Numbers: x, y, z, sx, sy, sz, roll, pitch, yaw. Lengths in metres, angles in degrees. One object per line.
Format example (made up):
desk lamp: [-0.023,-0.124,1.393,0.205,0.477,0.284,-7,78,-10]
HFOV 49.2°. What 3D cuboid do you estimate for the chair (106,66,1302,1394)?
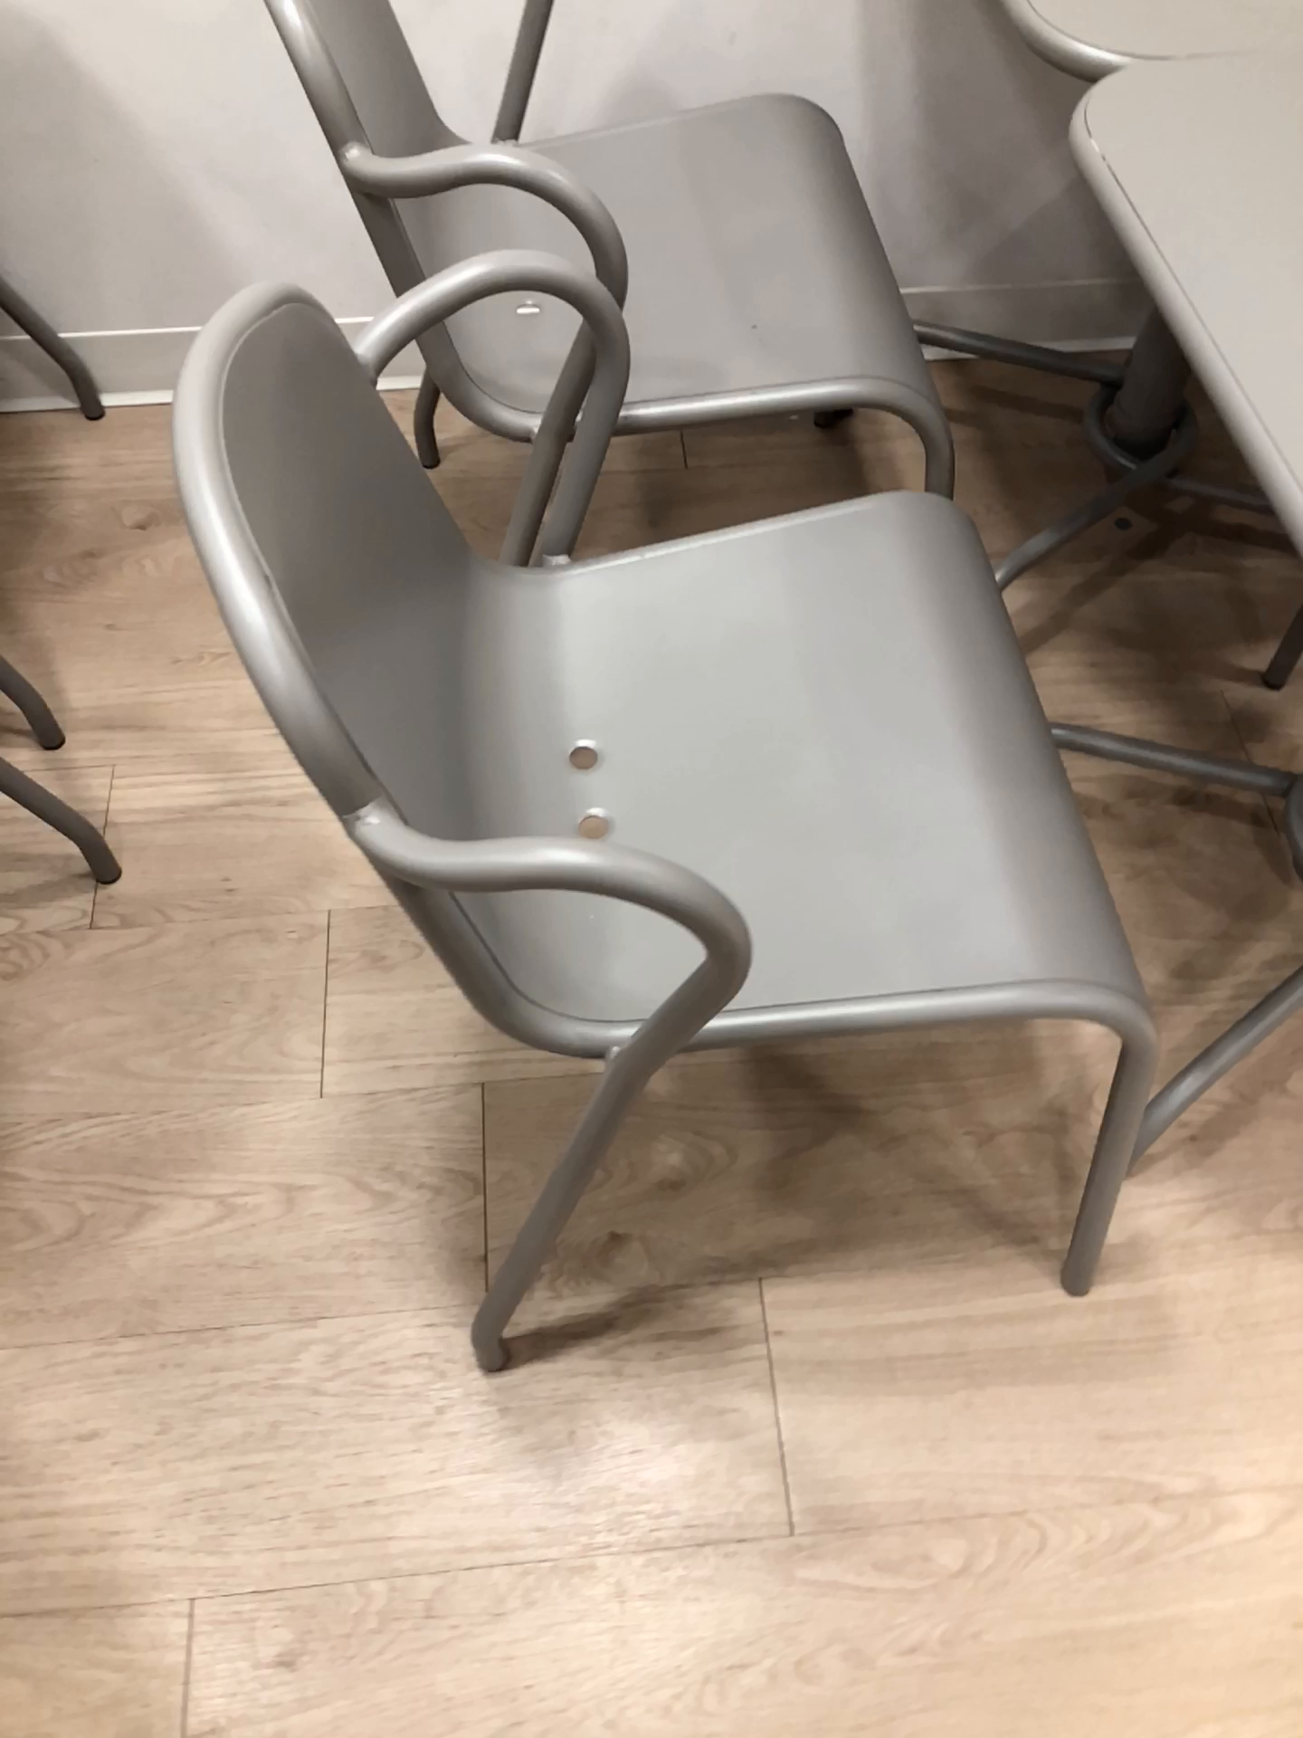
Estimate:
chair: [0.088,-0.023,0.933,0.610,0.707,0.482,-5,57,-4]
